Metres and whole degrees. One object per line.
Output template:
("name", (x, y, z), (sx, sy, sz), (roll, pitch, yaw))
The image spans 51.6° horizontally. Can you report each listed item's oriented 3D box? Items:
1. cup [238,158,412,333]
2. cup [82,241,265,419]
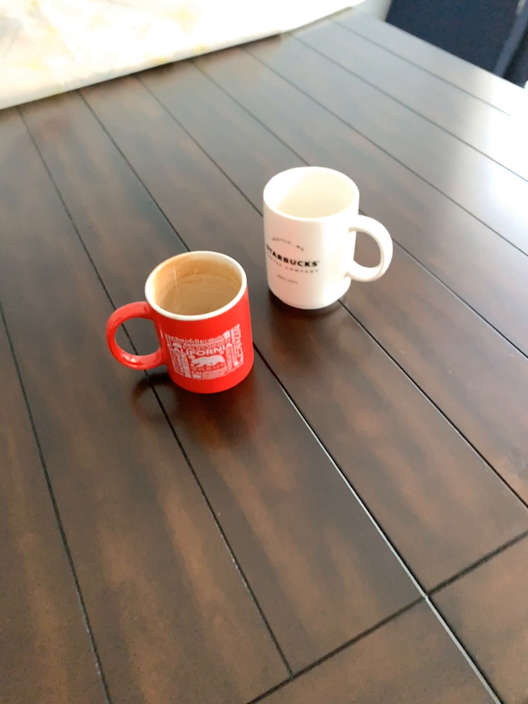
("cup", (0.056, -0.101, 0.515), (0.130, 0.110, 0.080), (18, 52, 19))
("cup", (-0.074, -0.018, 0.470), (0.130, 0.100, 0.090), (-9, 48, -4))
